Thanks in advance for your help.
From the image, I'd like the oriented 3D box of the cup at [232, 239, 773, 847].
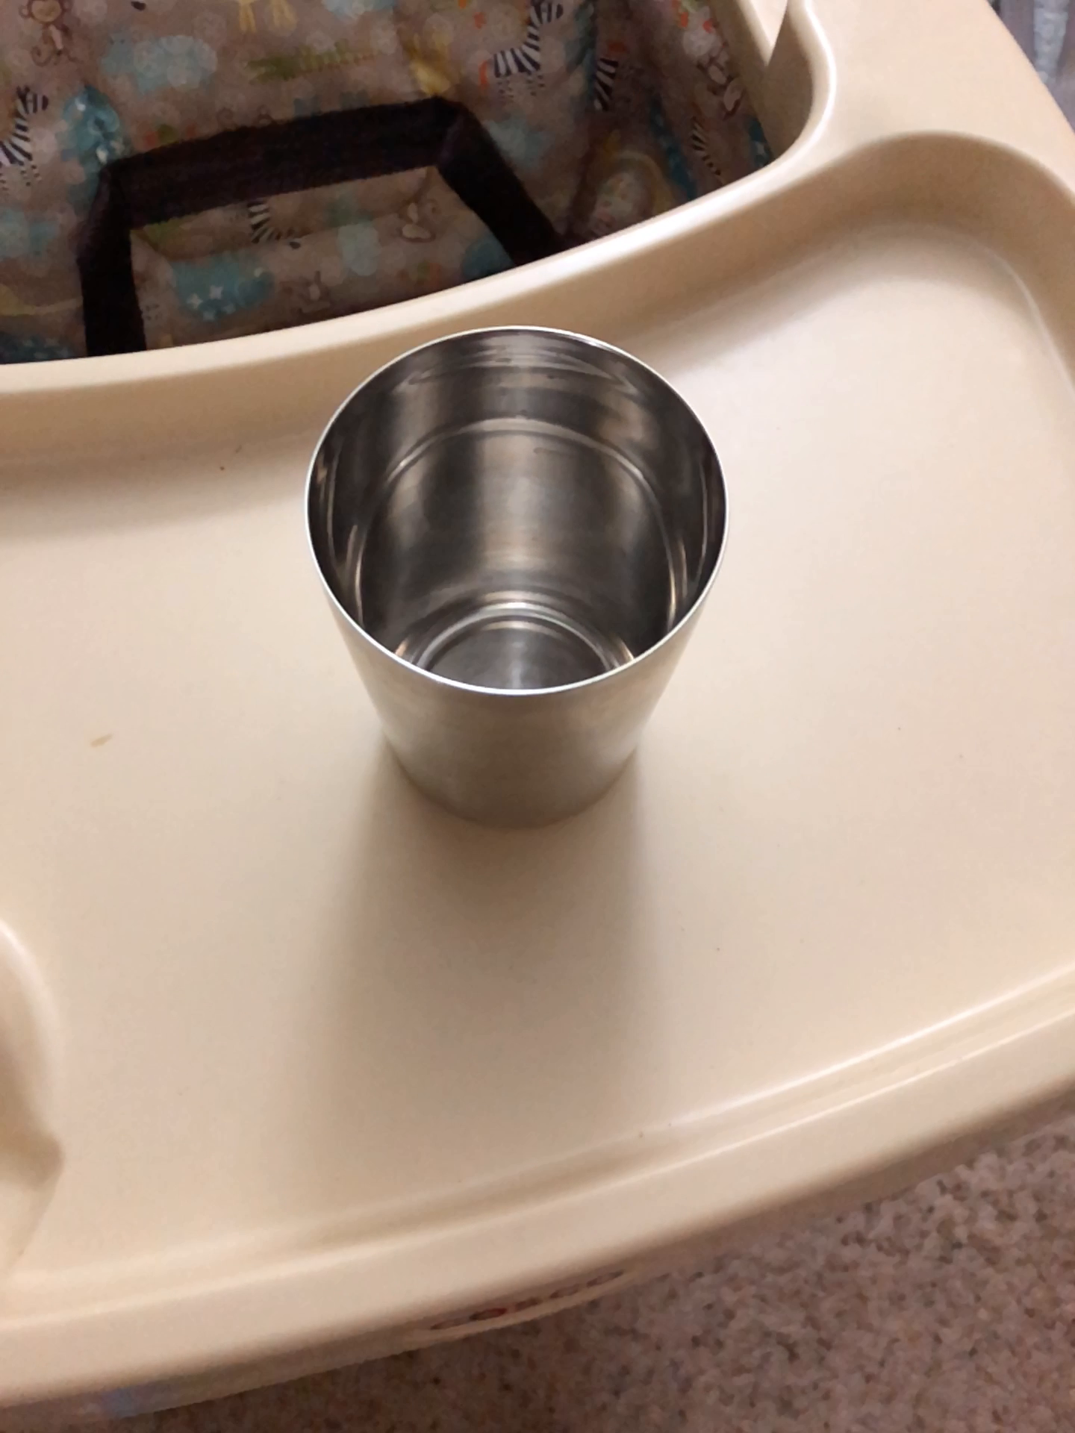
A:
[{"bbox_3d":[-0.008,-0.028,0.239,0.073,0.091,0.072,0,70,-1],"label":"cup"}]
